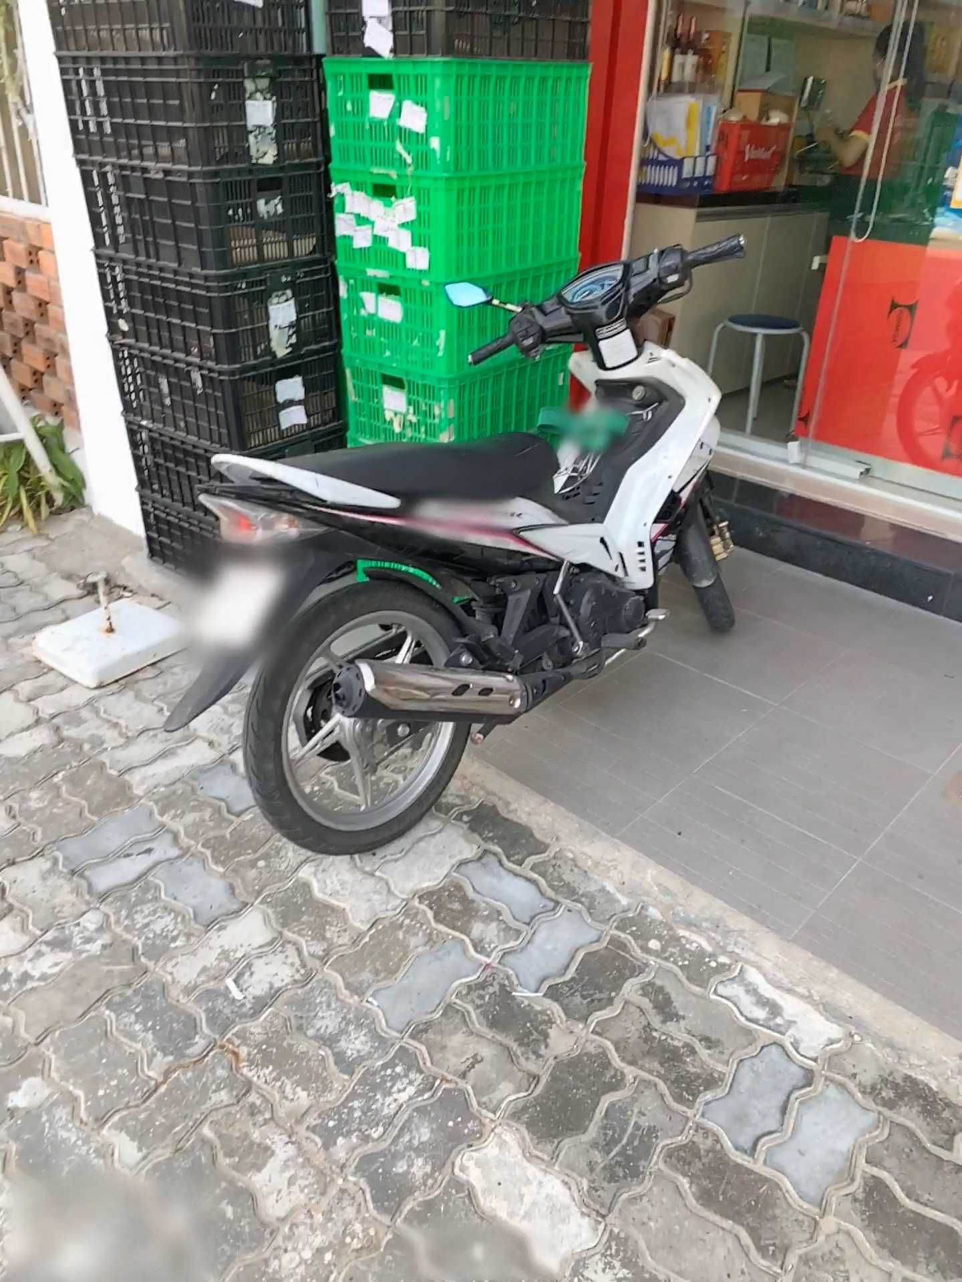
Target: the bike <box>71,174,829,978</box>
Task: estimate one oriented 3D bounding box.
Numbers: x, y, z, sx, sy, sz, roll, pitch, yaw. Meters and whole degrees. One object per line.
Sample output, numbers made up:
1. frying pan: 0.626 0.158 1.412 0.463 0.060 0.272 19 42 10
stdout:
1. bike: 0.083 -0.378 2.367 0.668 1.187 1.820 21 35 31
